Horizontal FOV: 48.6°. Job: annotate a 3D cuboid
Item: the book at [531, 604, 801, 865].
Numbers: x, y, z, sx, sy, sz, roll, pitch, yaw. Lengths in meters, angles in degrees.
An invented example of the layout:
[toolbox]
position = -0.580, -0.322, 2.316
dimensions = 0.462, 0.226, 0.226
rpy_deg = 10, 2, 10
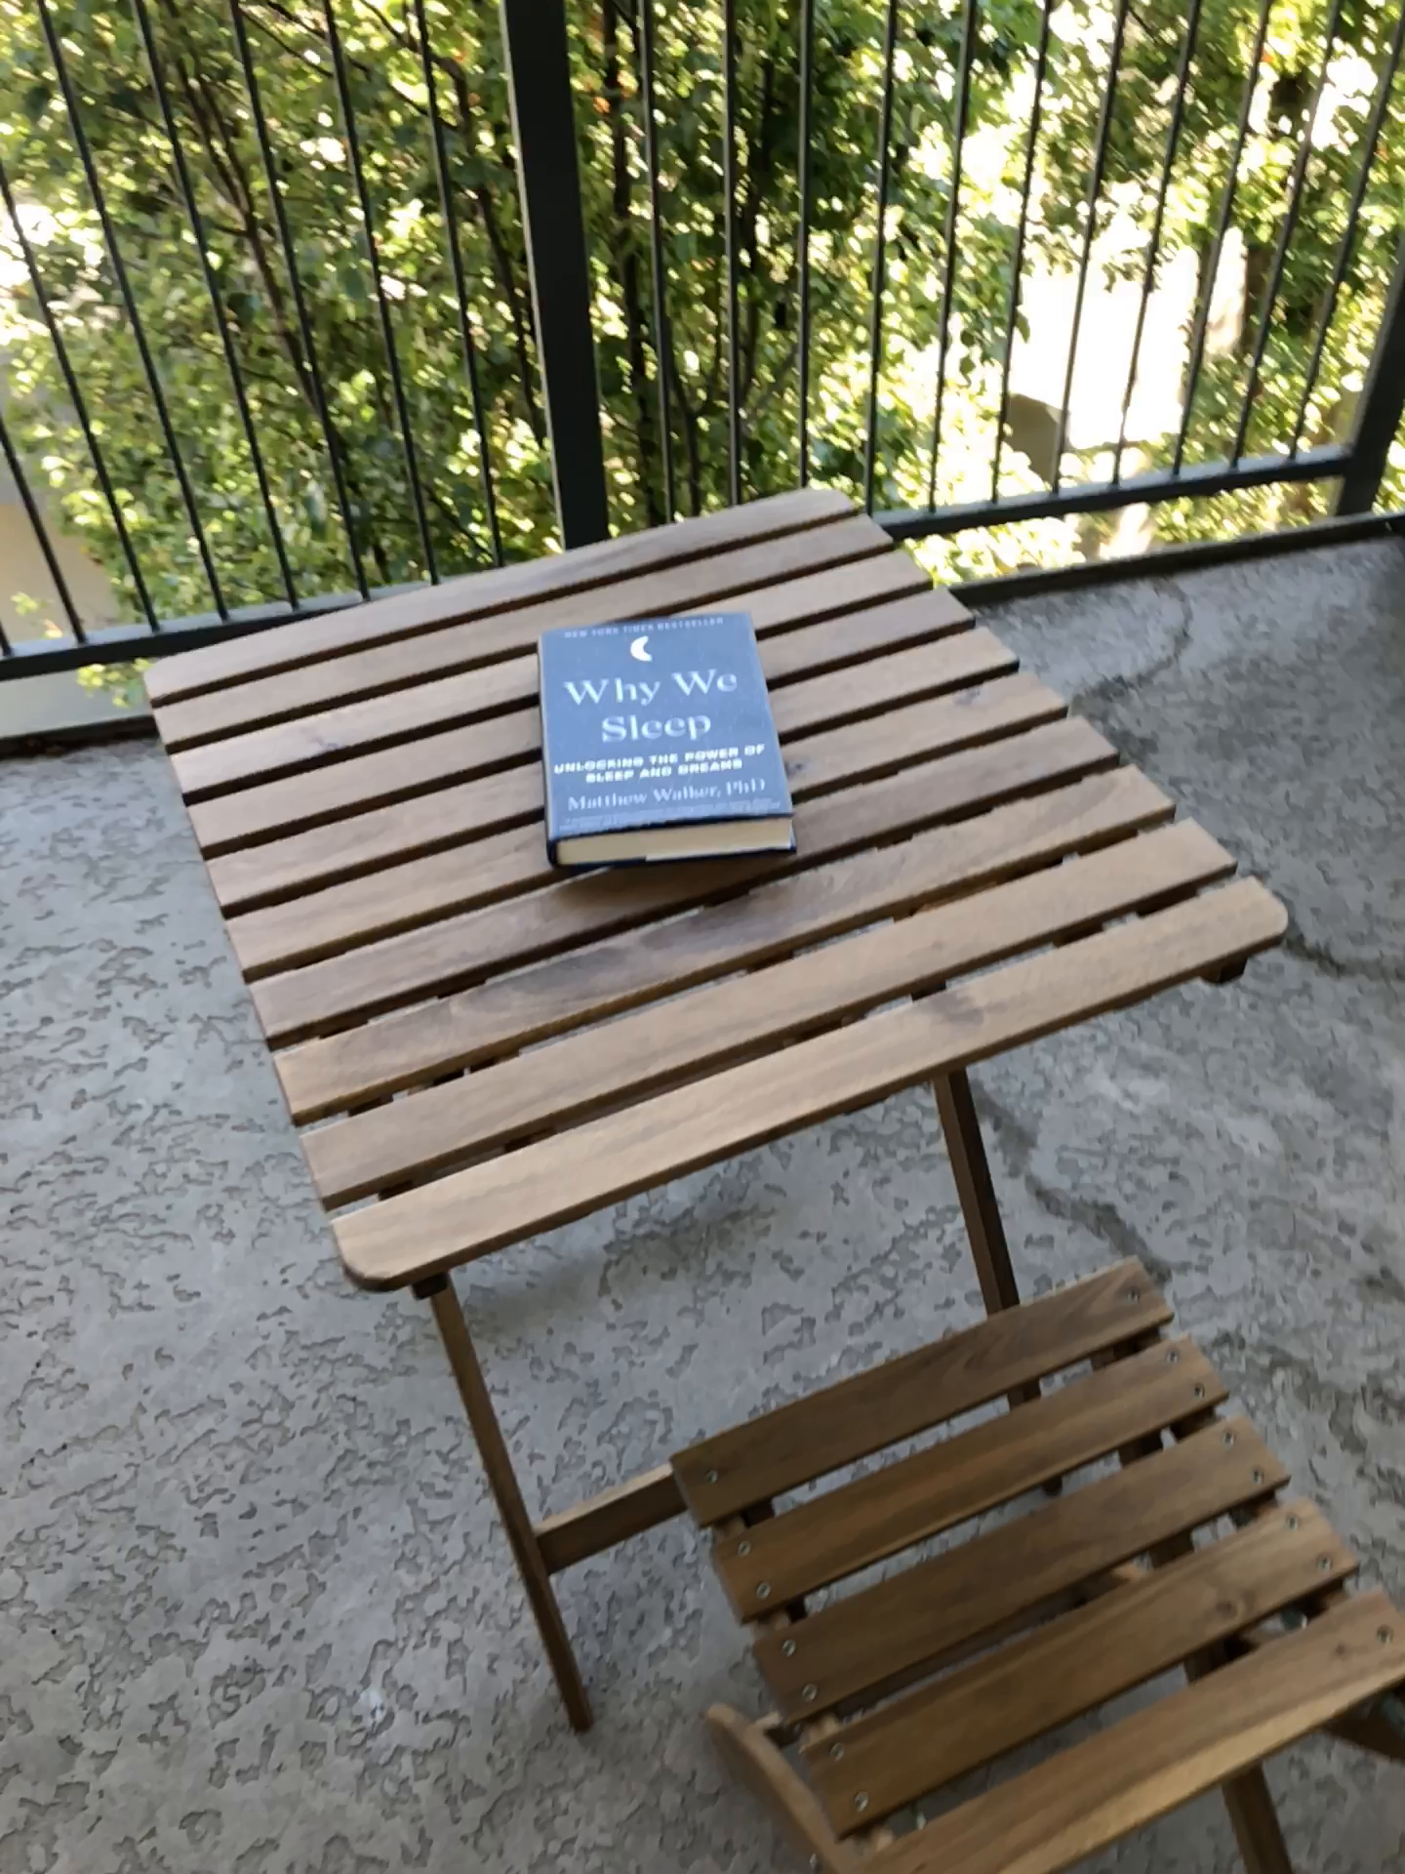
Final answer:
[book]
position = -0.031, -0.146, 1.070
dimensions = 0.170, 0.029, 0.235
rpy_deg = -4, 45, -2
